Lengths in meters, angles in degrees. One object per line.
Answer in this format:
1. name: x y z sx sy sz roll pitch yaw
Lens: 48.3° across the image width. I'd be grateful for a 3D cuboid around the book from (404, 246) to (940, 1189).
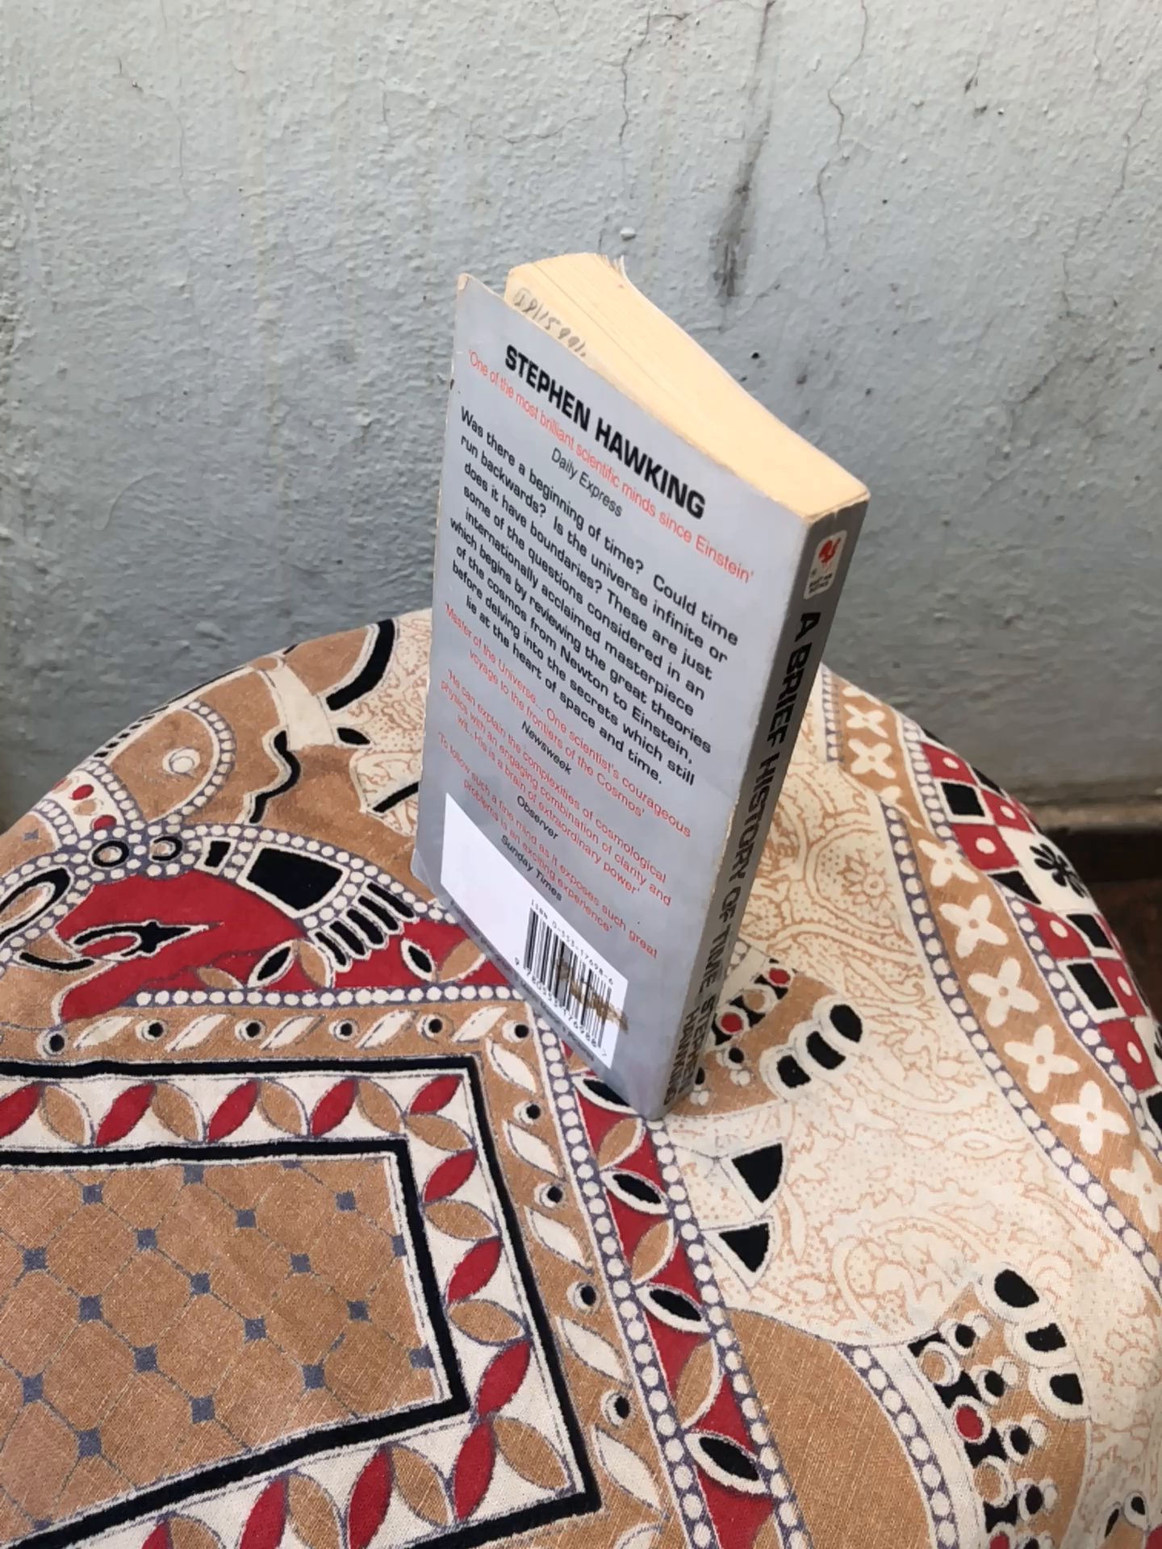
1. book: 0.002 -0.009 0.295 0.030 0.169 0.130 -17 48 -26
